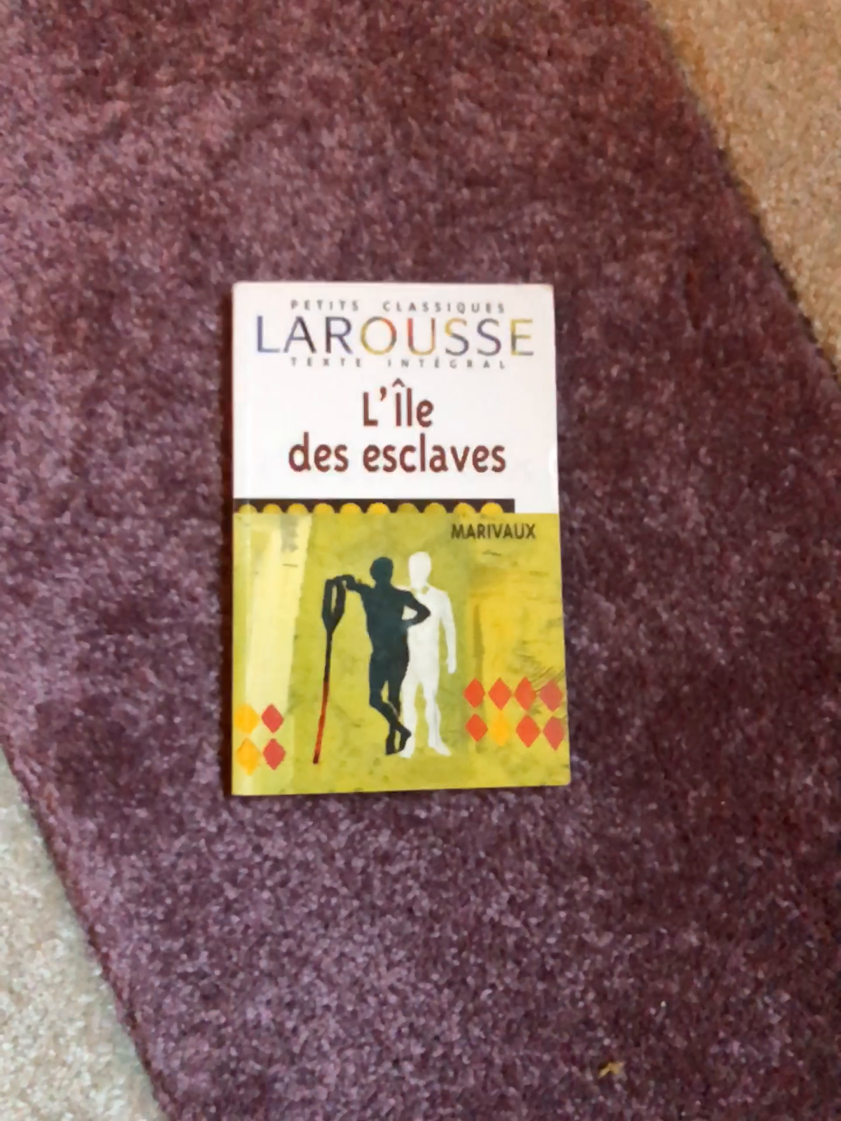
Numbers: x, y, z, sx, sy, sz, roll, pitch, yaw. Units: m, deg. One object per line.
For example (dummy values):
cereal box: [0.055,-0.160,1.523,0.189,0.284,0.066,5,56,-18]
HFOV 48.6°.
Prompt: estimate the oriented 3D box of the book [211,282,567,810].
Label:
book: [-0.011,-0.007,0.306,0.110,0.020,0.166,-1,84,-5]
